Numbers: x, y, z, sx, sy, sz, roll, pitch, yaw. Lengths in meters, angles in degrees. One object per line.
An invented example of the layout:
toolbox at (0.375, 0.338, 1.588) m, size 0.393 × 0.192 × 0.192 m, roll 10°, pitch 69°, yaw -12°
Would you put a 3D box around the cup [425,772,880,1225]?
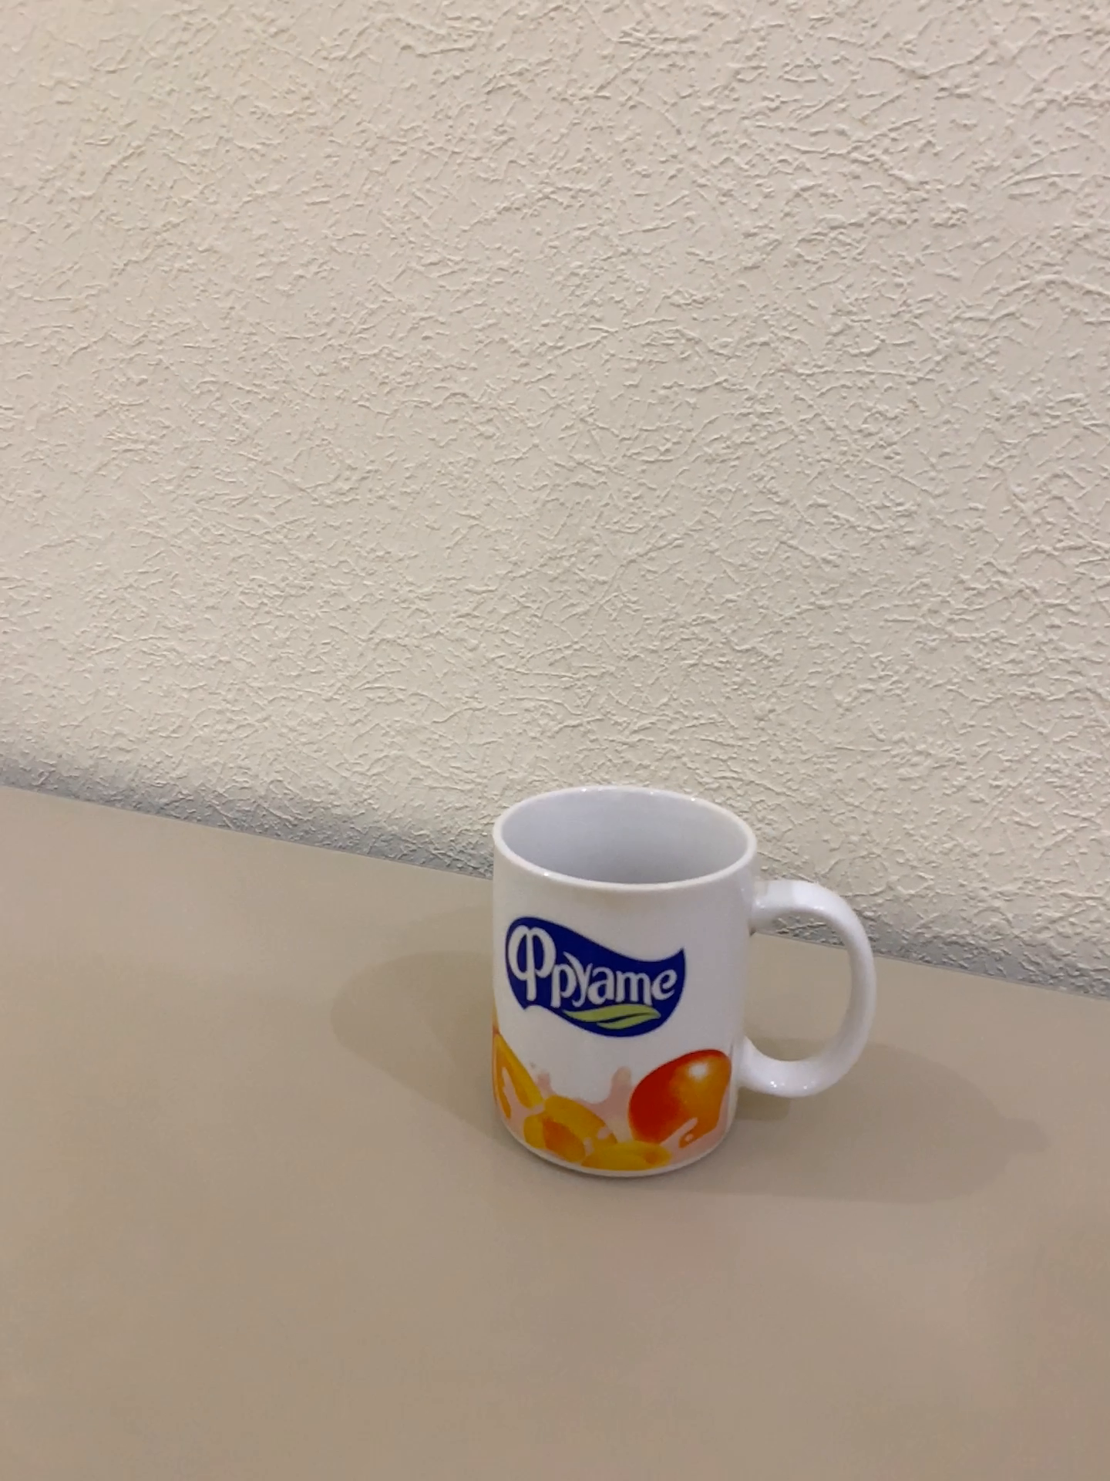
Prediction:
cup at (0.029, 0.071, 0.342) m, size 0.116 × 0.092 × 0.081 m, roll 5°, pitch 18°, yaw 9°
